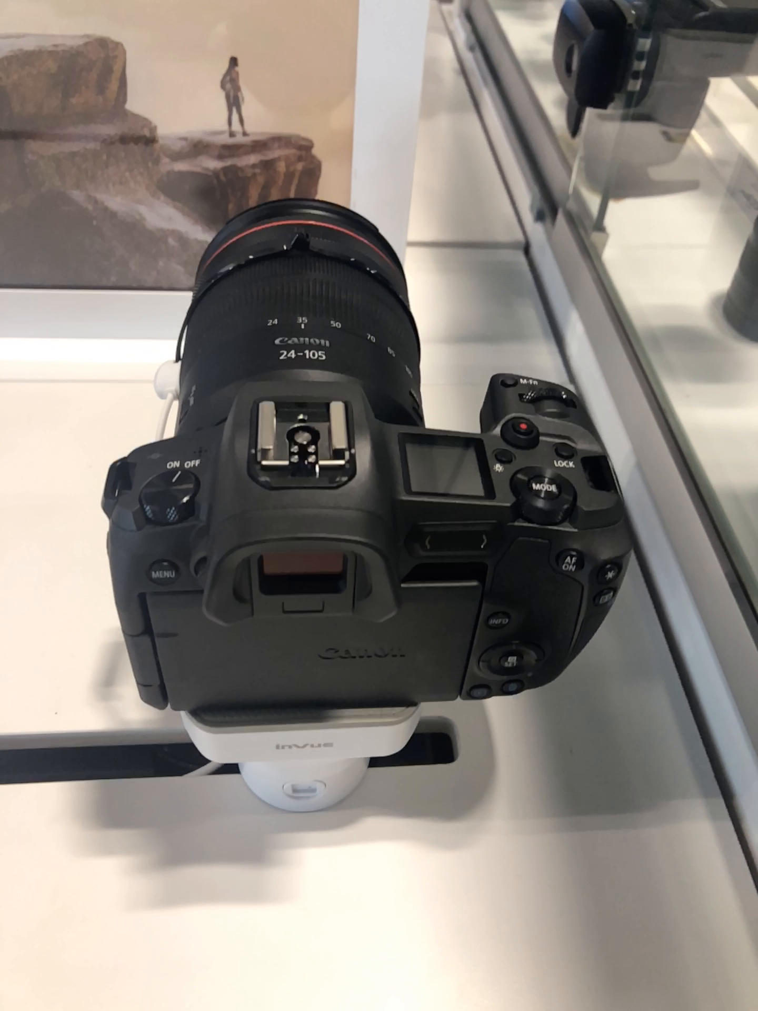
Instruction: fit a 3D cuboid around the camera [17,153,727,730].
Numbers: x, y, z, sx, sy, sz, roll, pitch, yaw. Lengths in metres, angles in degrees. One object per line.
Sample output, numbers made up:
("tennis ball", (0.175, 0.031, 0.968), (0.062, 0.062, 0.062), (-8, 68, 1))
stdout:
("camera", (-0.008, -0.026, 0.244), (0.139, 0.086, 0.146), (-2, 47, -6))
